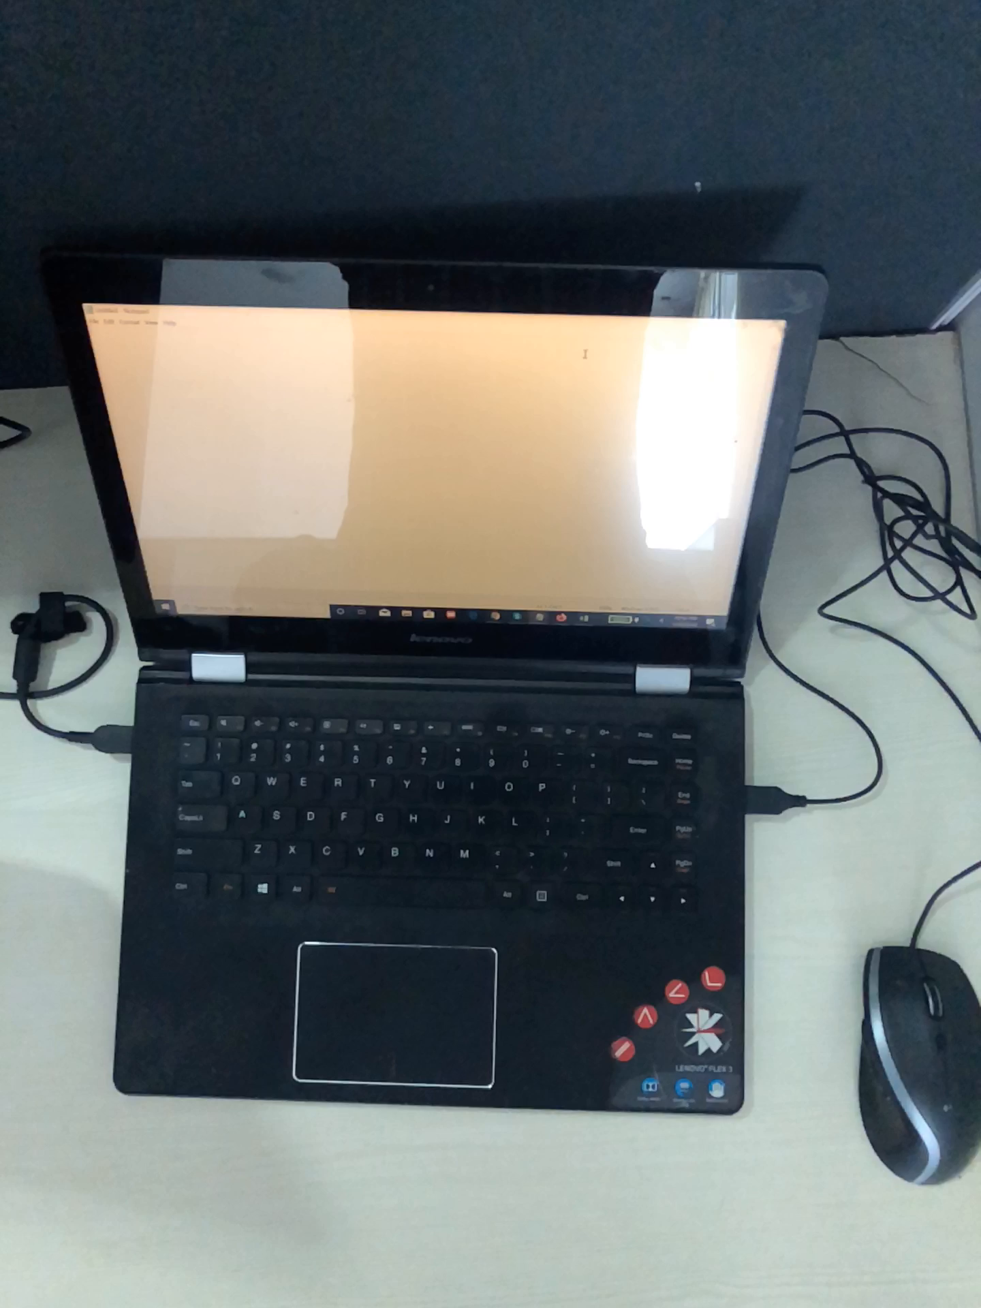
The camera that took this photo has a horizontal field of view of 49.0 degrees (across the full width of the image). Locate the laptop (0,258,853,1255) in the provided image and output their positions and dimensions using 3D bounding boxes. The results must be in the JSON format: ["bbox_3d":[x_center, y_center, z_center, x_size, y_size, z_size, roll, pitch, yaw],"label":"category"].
[{"bbox_3d":[-0.029,0.037,0.515,0.334,0.171,0.385,2,82,1],"label":"laptop"}]
